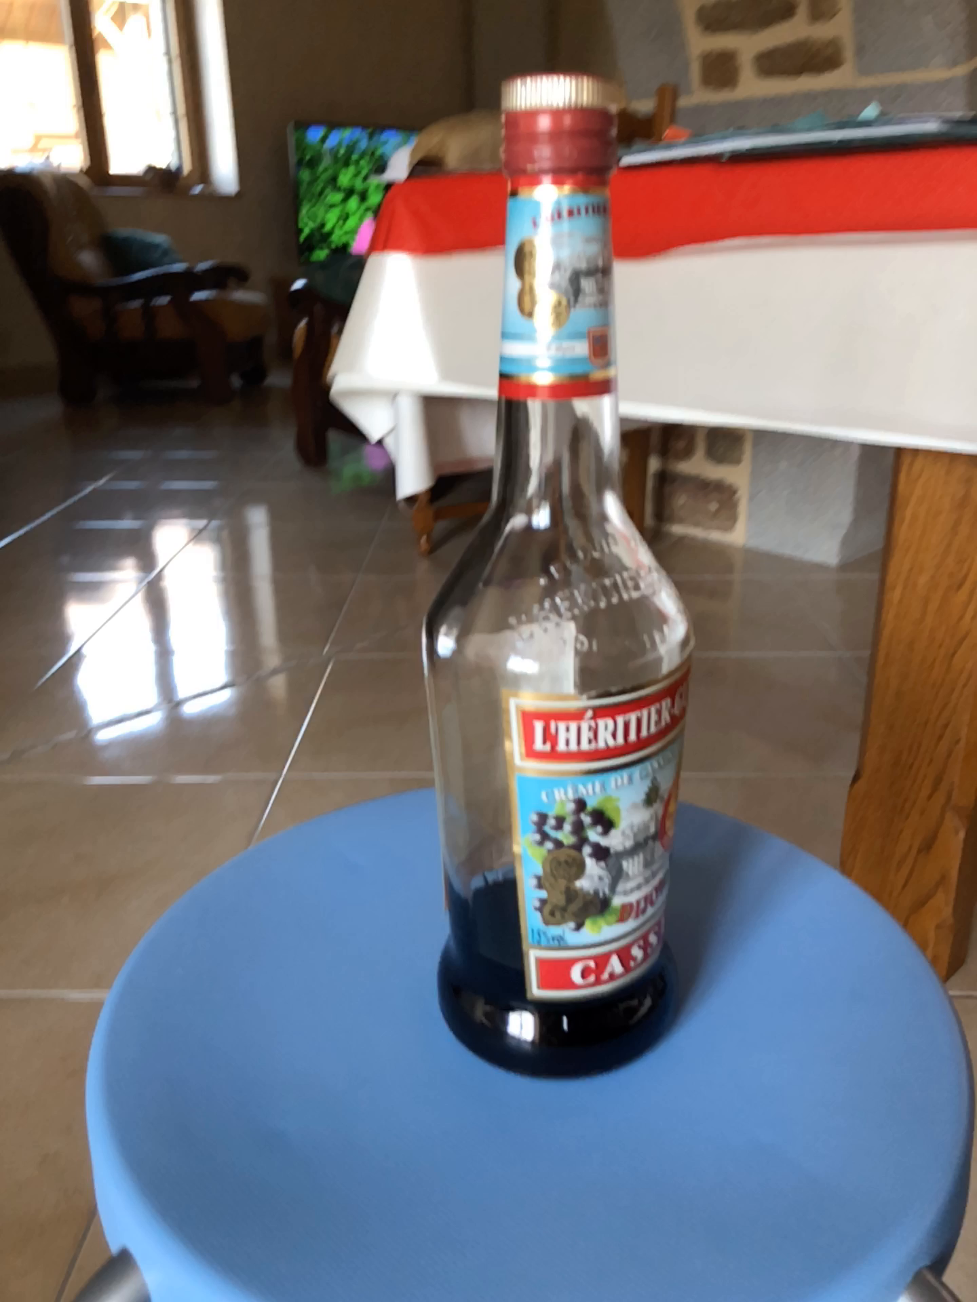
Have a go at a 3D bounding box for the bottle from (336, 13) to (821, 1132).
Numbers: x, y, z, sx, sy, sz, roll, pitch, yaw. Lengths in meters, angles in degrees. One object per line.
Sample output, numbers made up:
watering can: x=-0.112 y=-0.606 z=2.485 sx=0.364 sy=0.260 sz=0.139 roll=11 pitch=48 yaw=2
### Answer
bottle: x=0.024 y=-0.016 z=0.334 sx=0.090 sy=0.298 sz=0.090 roll=-1 pitch=21 yaw=0
